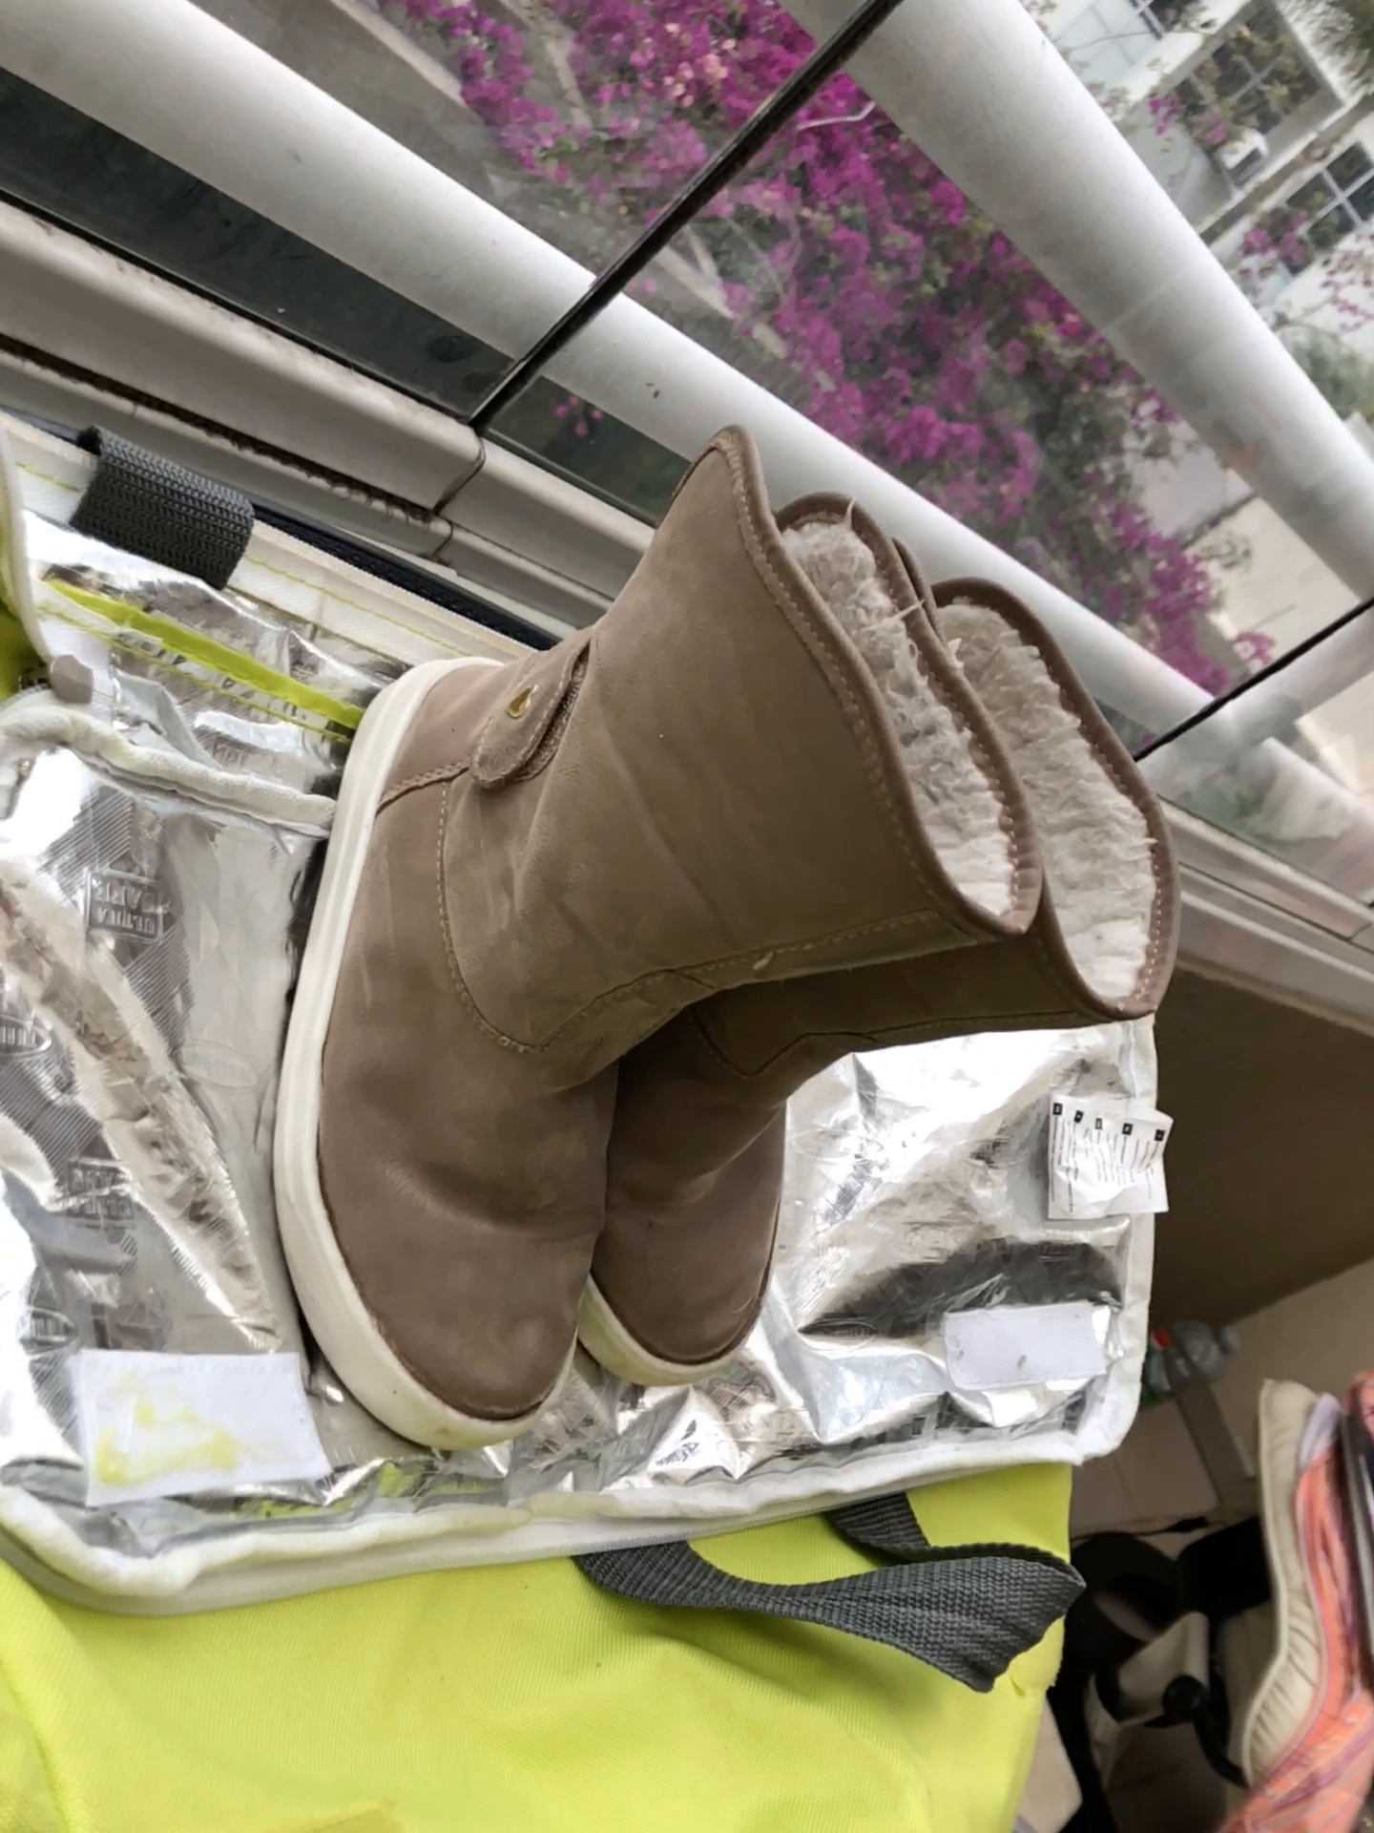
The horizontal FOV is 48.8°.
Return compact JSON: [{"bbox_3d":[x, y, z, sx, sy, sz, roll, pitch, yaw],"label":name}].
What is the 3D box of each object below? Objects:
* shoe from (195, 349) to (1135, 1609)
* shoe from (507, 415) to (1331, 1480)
[{"bbox_3d":[-0.011,0.018,0.315,0.090,0.169,0.190,12,74,-46],"label":"shoe"},{"bbox_3d":[0.046,0.015,0.371,0.090,0.169,0.200,9,76,-47],"label":"shoe"}]
